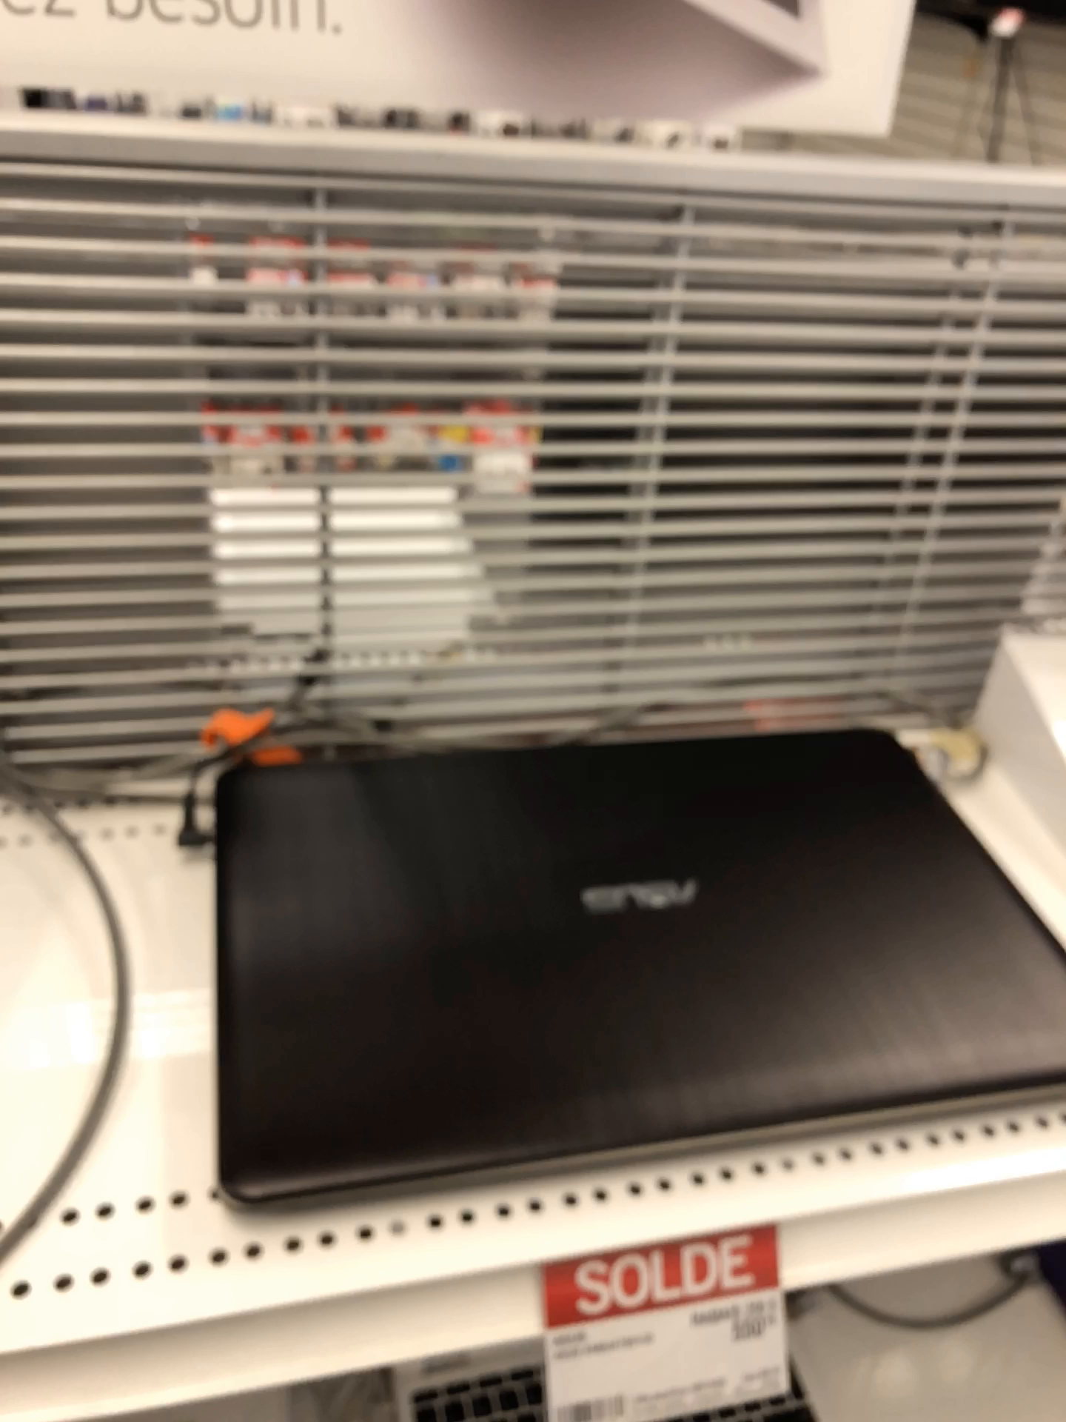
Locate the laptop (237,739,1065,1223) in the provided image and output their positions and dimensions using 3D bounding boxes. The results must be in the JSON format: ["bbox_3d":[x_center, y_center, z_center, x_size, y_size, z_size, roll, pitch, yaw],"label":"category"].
[{"bbox_3d":[0.052,0.098,0.564,0.367,0.013,0.235,-2,35,-16],"label":"laptop"}]
